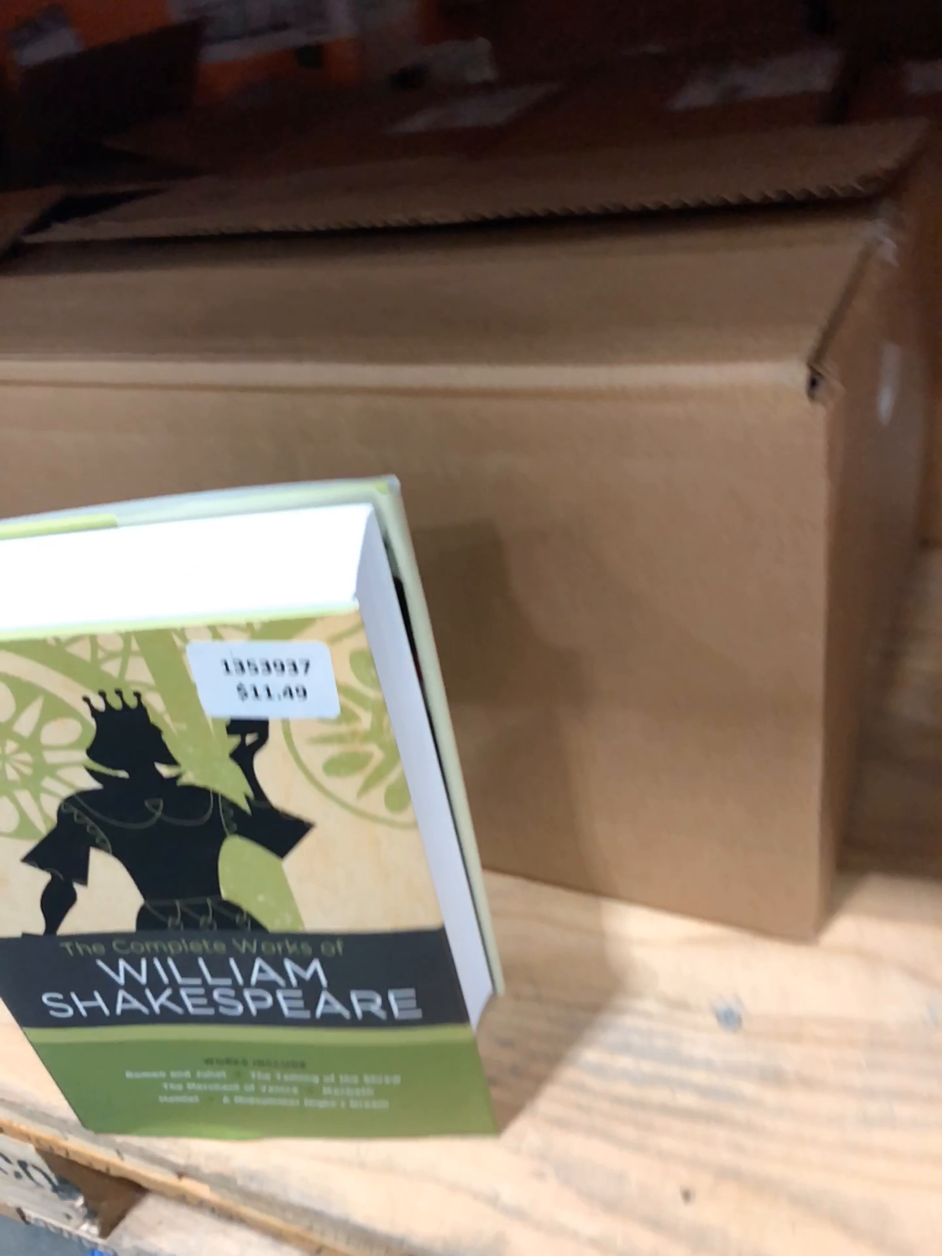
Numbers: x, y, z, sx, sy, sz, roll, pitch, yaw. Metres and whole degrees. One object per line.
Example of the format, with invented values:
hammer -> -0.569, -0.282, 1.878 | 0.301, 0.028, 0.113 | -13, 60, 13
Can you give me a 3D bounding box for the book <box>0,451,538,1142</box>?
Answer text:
book -> -0.084, 0.074, 0.367 | 0.181, 0.239, 0.080 | -4, 35, 11
